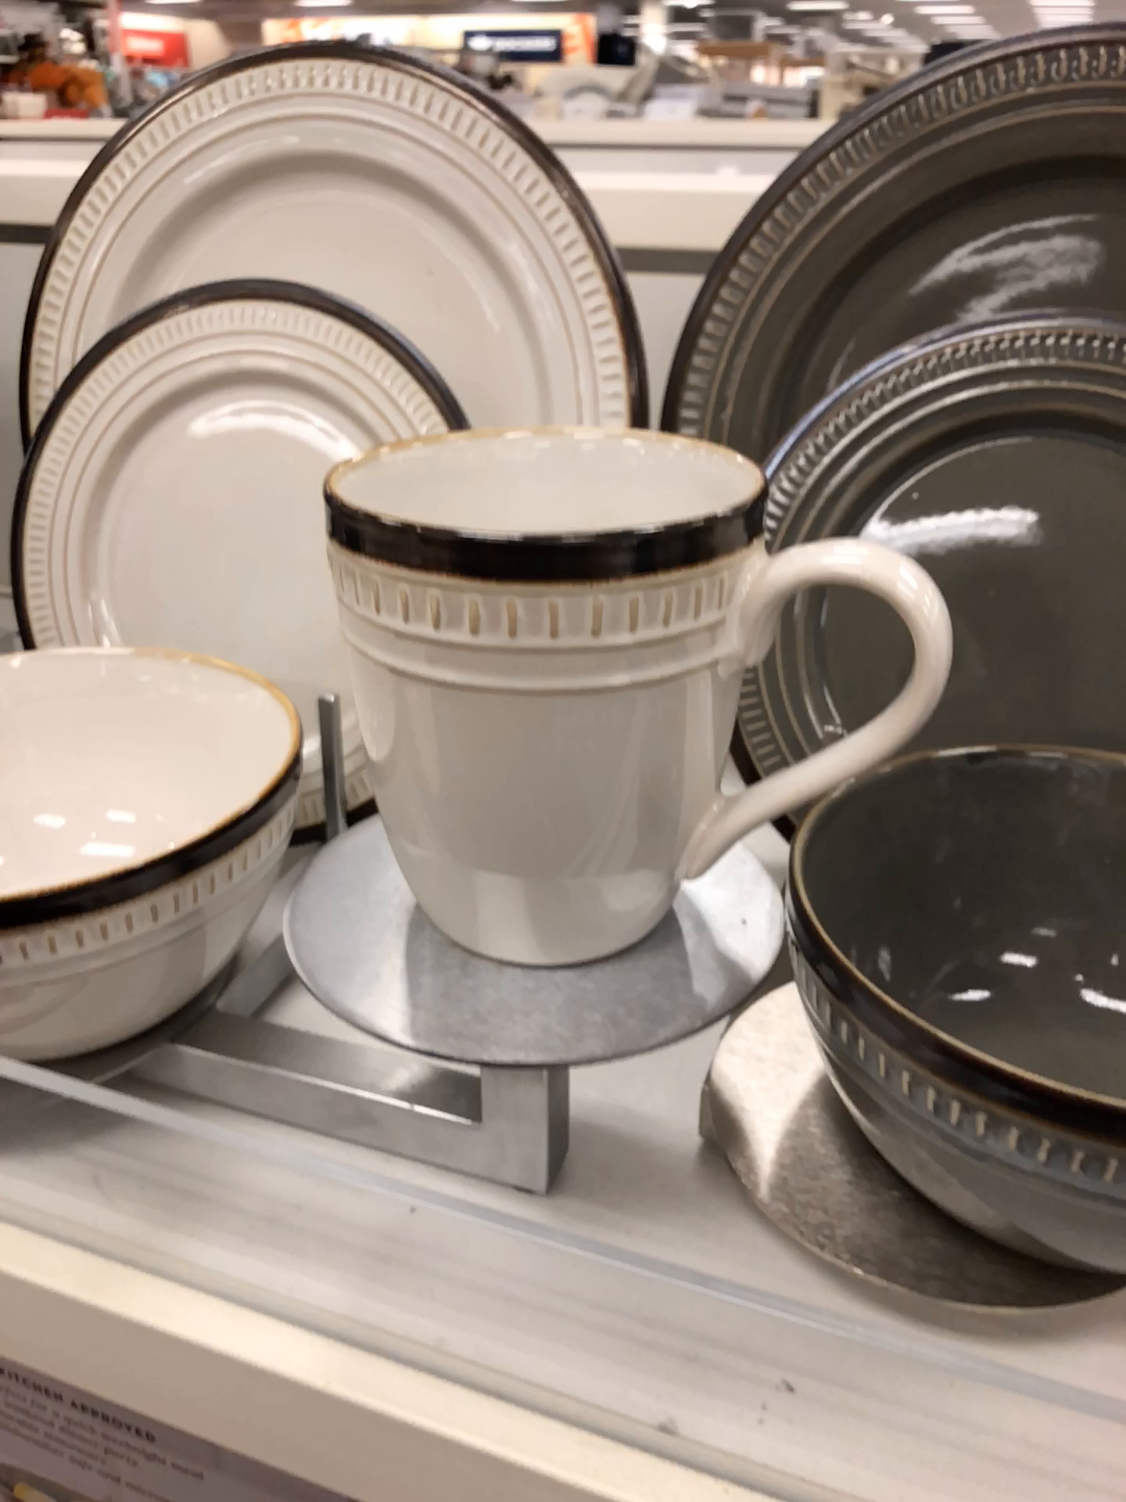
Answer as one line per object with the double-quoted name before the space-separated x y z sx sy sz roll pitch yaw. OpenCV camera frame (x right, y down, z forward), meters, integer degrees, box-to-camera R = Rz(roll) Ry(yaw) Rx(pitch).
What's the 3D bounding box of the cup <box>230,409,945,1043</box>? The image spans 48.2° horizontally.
"cup" 0.012 -0.014 0.281 0.128 0.096 0.092 7 28 14
